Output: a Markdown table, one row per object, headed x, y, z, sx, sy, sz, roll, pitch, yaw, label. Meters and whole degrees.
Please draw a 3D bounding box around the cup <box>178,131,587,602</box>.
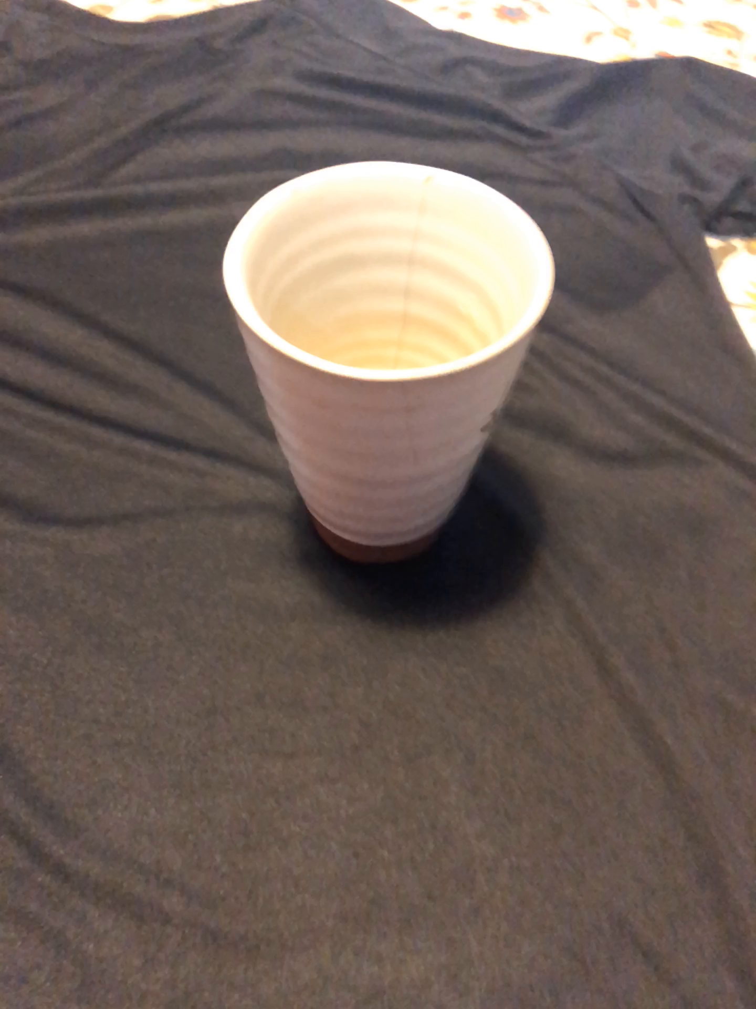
| x | y | z | sx | sy | sz | roll | pitch | yaw | label |
| --- | --- | --- | --- | --- | --- | --- | --- | --- | --- |
| 0.005 | -0.037 | 0.250 | 0.090 | 0.099 | 0.080 | 9 | 56 | 4 | cup |
